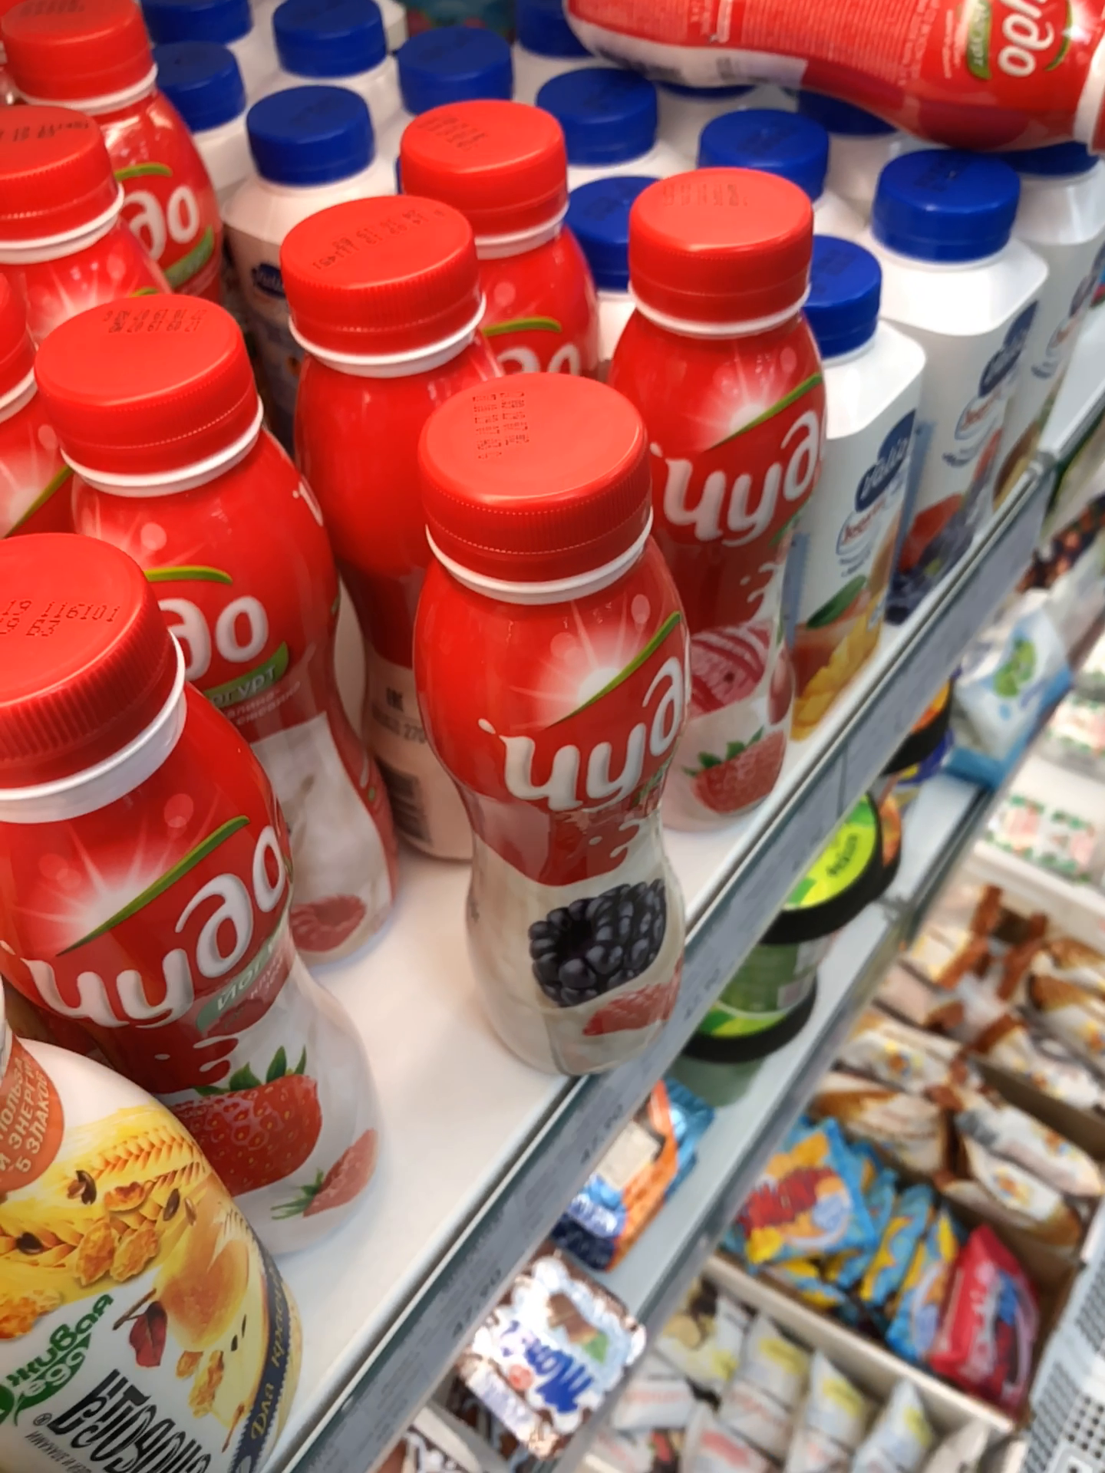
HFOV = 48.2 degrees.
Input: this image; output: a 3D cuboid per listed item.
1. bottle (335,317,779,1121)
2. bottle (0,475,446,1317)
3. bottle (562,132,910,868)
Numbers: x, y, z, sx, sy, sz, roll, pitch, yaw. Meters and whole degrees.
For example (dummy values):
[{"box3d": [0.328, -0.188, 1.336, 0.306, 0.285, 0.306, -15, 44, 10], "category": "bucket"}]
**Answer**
[{"box3d": [0.004, 0.010, 0.271, 0.050, 0.181, 0.054, -1, 49, 1], "category": "bottle"}, {"box3d": [-0.066, 0.046, 0.240, 0.050, 0.181, 0.054, -1, 49, 1], "category": "bottle"}, {"box3d": [0.041, -0.049, 0.322, 0.050, 0.181, 0.054, -1, 49, 1], "category": "bottle"}]
